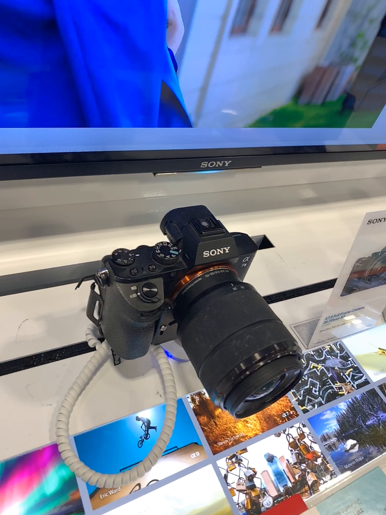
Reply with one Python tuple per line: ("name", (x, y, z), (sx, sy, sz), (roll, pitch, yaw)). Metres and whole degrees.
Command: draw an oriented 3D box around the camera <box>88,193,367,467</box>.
("camera", (0.010, 0.039, 0.288), (0.130, 0.090, 0.142), (-11, 50, -27))
